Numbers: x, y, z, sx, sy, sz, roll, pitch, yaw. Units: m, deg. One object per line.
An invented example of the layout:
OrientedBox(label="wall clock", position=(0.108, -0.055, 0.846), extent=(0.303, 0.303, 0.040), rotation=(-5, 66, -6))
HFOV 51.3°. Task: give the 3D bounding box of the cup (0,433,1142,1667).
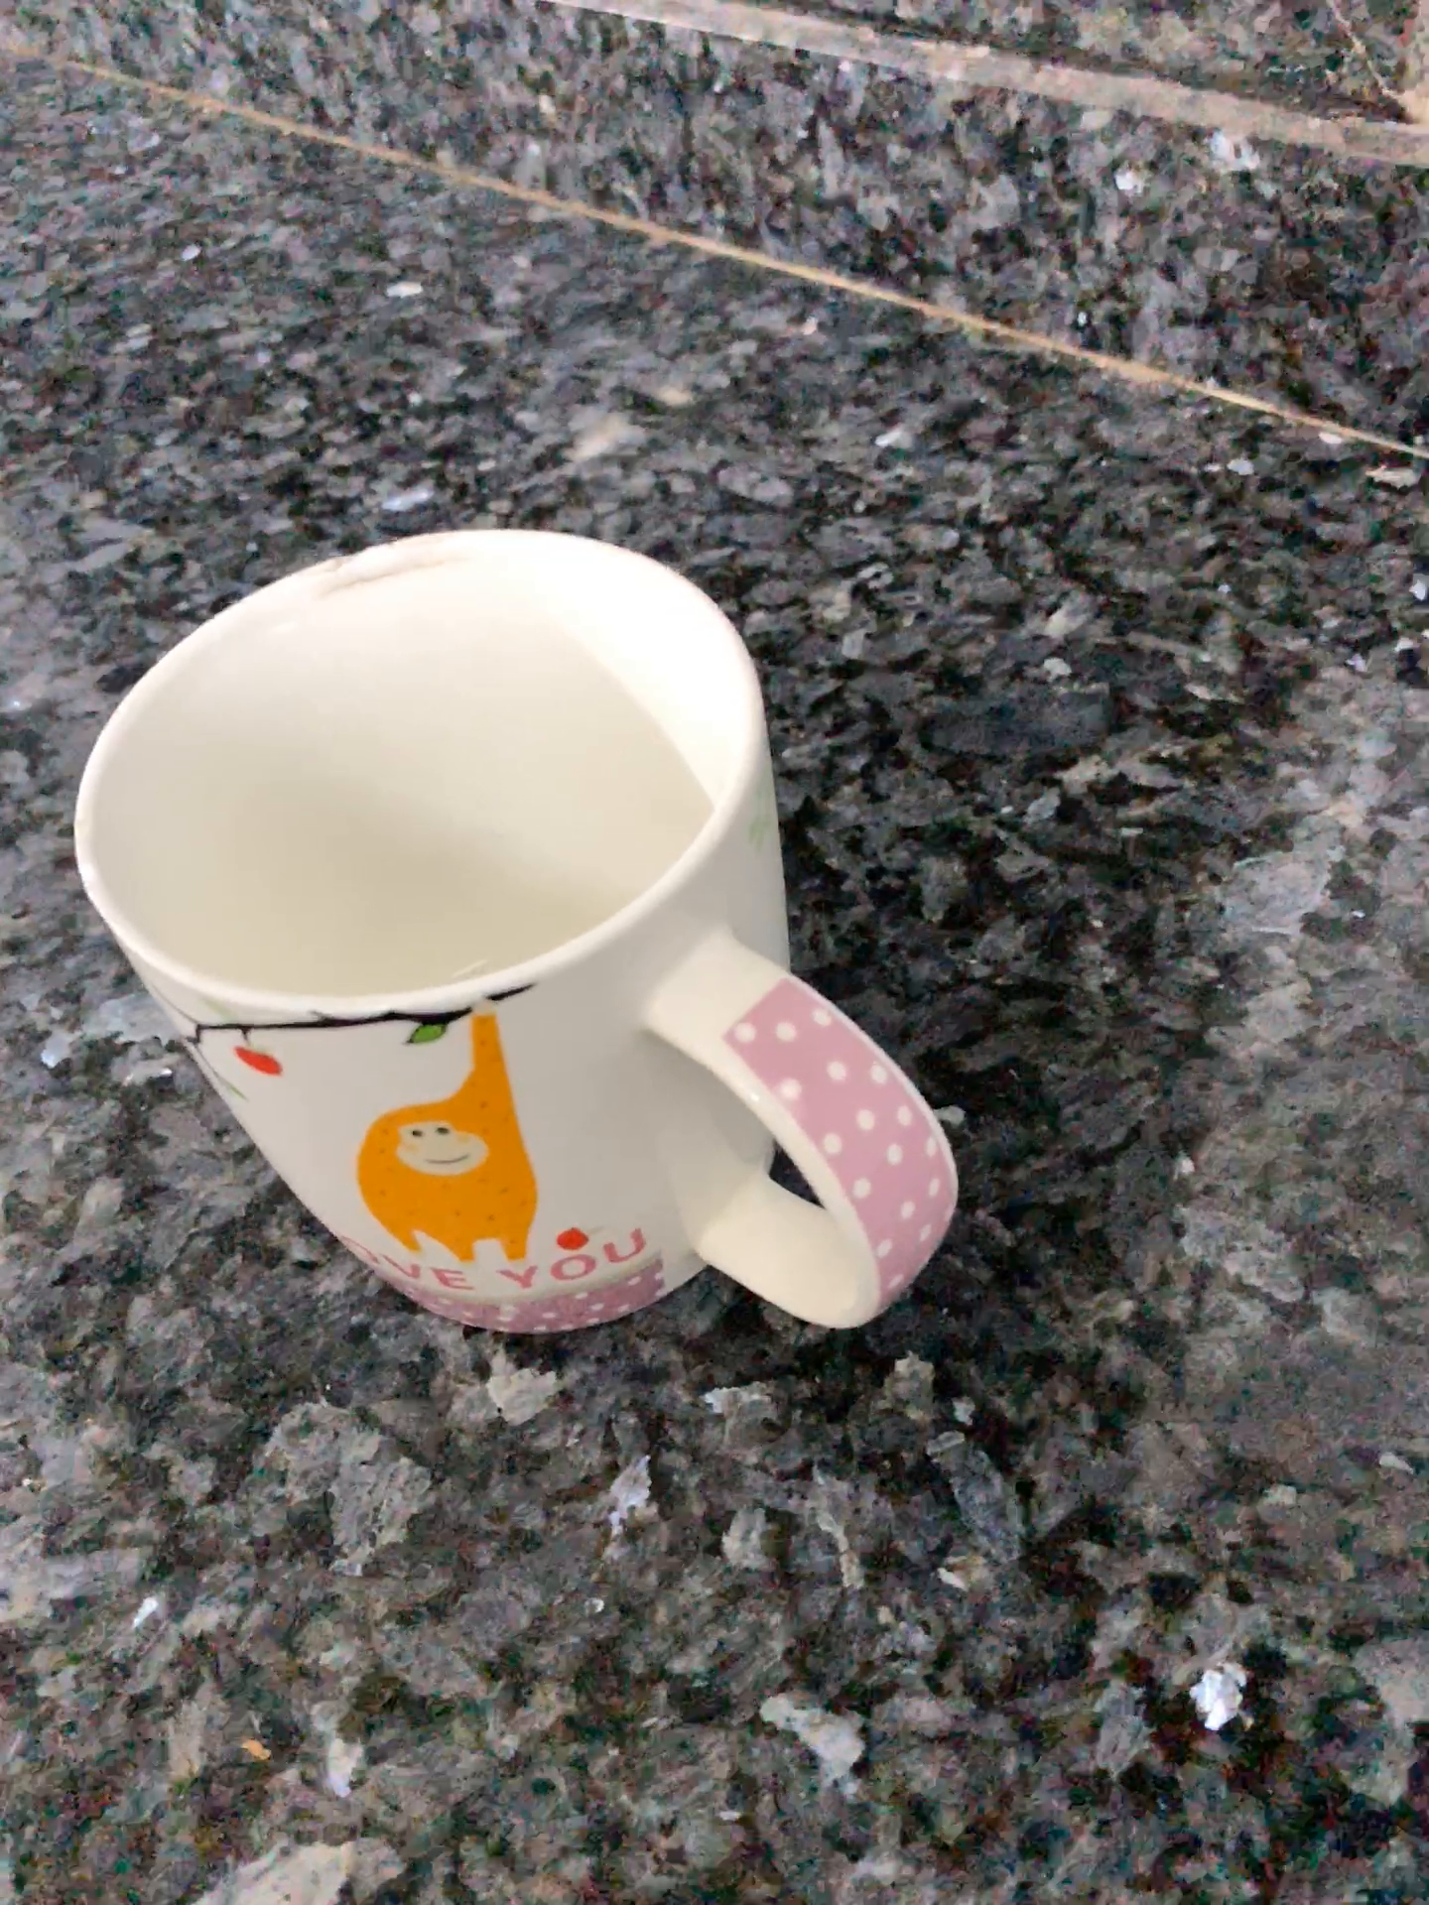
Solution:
OrientedBox(label="cup", position=(-0.022, 0.007, 0.197), extent=(0.121, 0.089, 0.080), rotation=(32, 61, 30))
